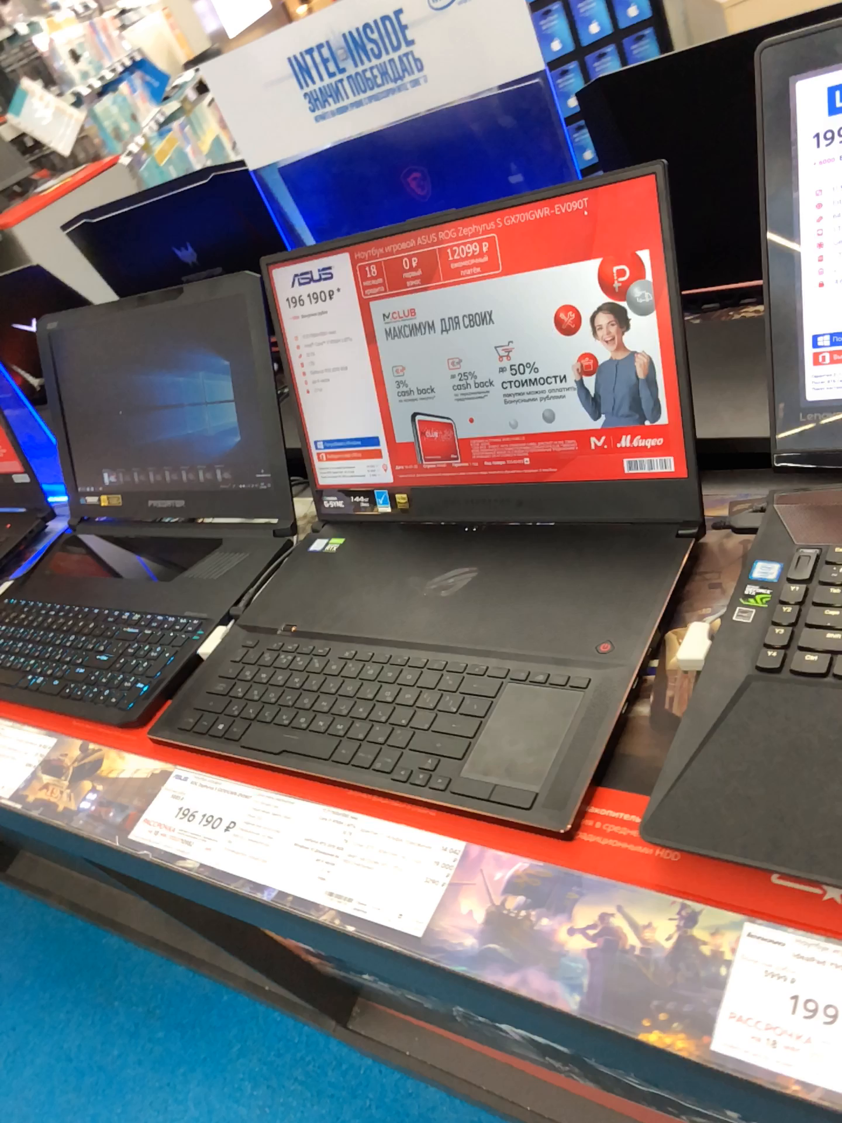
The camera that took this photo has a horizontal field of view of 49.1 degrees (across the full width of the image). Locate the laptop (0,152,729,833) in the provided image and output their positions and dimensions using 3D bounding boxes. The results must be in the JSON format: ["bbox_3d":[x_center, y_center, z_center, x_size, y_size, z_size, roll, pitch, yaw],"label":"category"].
[{"bbox_3d":[-0.036,-0.066,0.700,0.391,0.240,0.378,2,43,37],"label":"laptop"}]

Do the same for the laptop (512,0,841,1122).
[{"bbox_3d":[0.318,-0.086,0.411,0.375,0.248,0.413,1,44,40],"label":"laptop"}]
